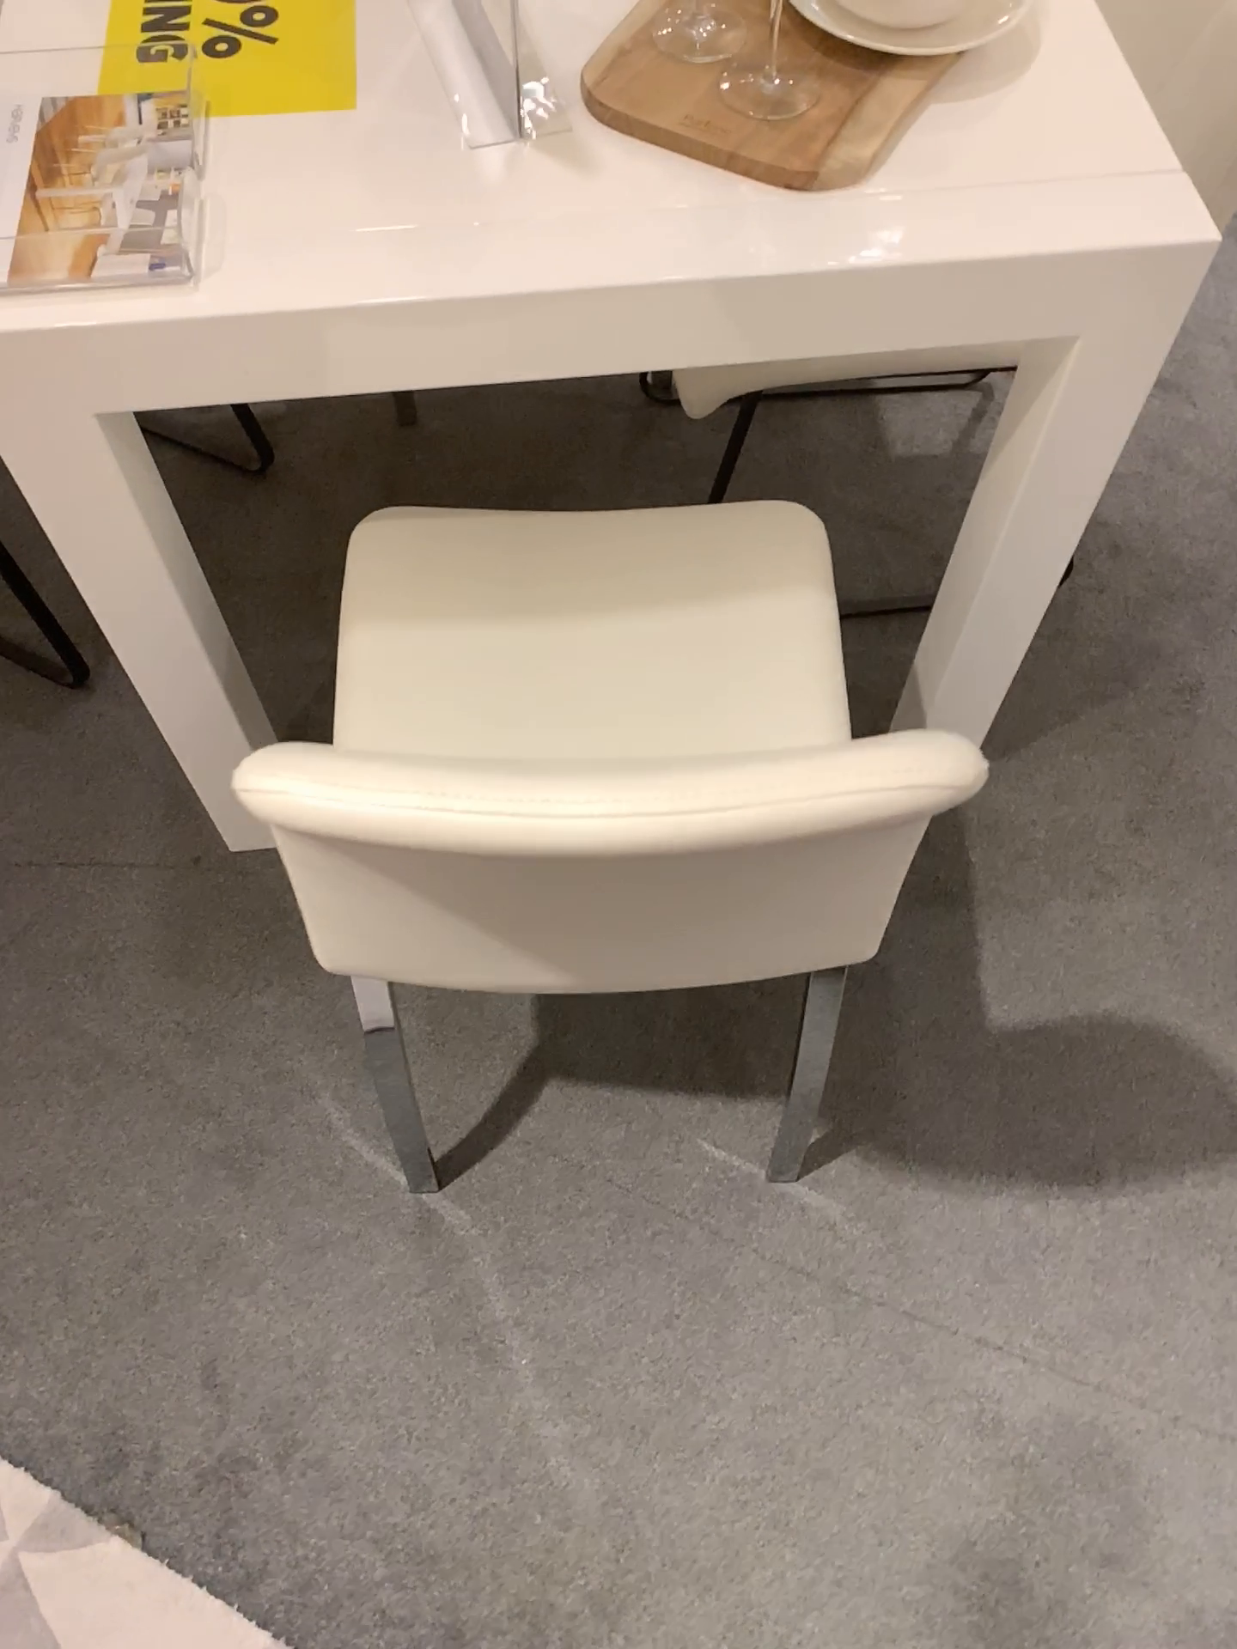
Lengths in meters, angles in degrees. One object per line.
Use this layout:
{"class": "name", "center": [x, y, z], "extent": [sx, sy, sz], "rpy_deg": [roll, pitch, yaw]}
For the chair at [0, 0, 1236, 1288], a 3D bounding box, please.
{"class": "chair", "center": [-0.022, -0.059, 0.964], "extent": [0.479, 0.958, 0.648], "rpy_deg": [0, 62, -1]}
